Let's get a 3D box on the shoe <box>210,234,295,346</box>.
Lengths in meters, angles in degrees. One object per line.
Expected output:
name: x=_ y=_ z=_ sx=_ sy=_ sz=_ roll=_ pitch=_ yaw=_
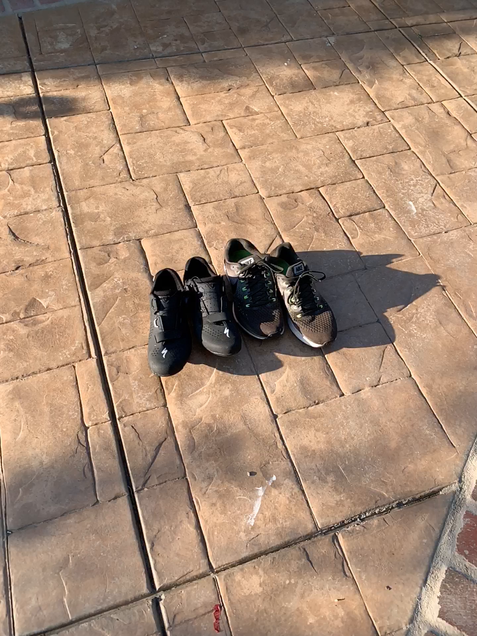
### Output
shoe: x=0.026 y=-0.074 z=1.163 sx=0.120 sy=0.070 sz=0.261 roll=-14 pitch=58 yaw=-12

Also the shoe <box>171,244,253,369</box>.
shoe: x=-0.062 y=-0.031 z=1.043 sx=0.100 sy=0.070 sz=0.261 roll=-14 pitch=58 yaw=-12

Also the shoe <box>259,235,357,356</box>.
shoe: x=0.154 y=-0.059 z=1.137 sx=0.120 sy=0.080 sz=0.271 roll=-14 pitch=58 yaw=-12

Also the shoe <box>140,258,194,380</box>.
shoe: x=-0.149 y=-0.004 z=1.051 sx=0.100 sy=0.070 sz=0.271 roll=-1 pitch=56 yaw=-3
